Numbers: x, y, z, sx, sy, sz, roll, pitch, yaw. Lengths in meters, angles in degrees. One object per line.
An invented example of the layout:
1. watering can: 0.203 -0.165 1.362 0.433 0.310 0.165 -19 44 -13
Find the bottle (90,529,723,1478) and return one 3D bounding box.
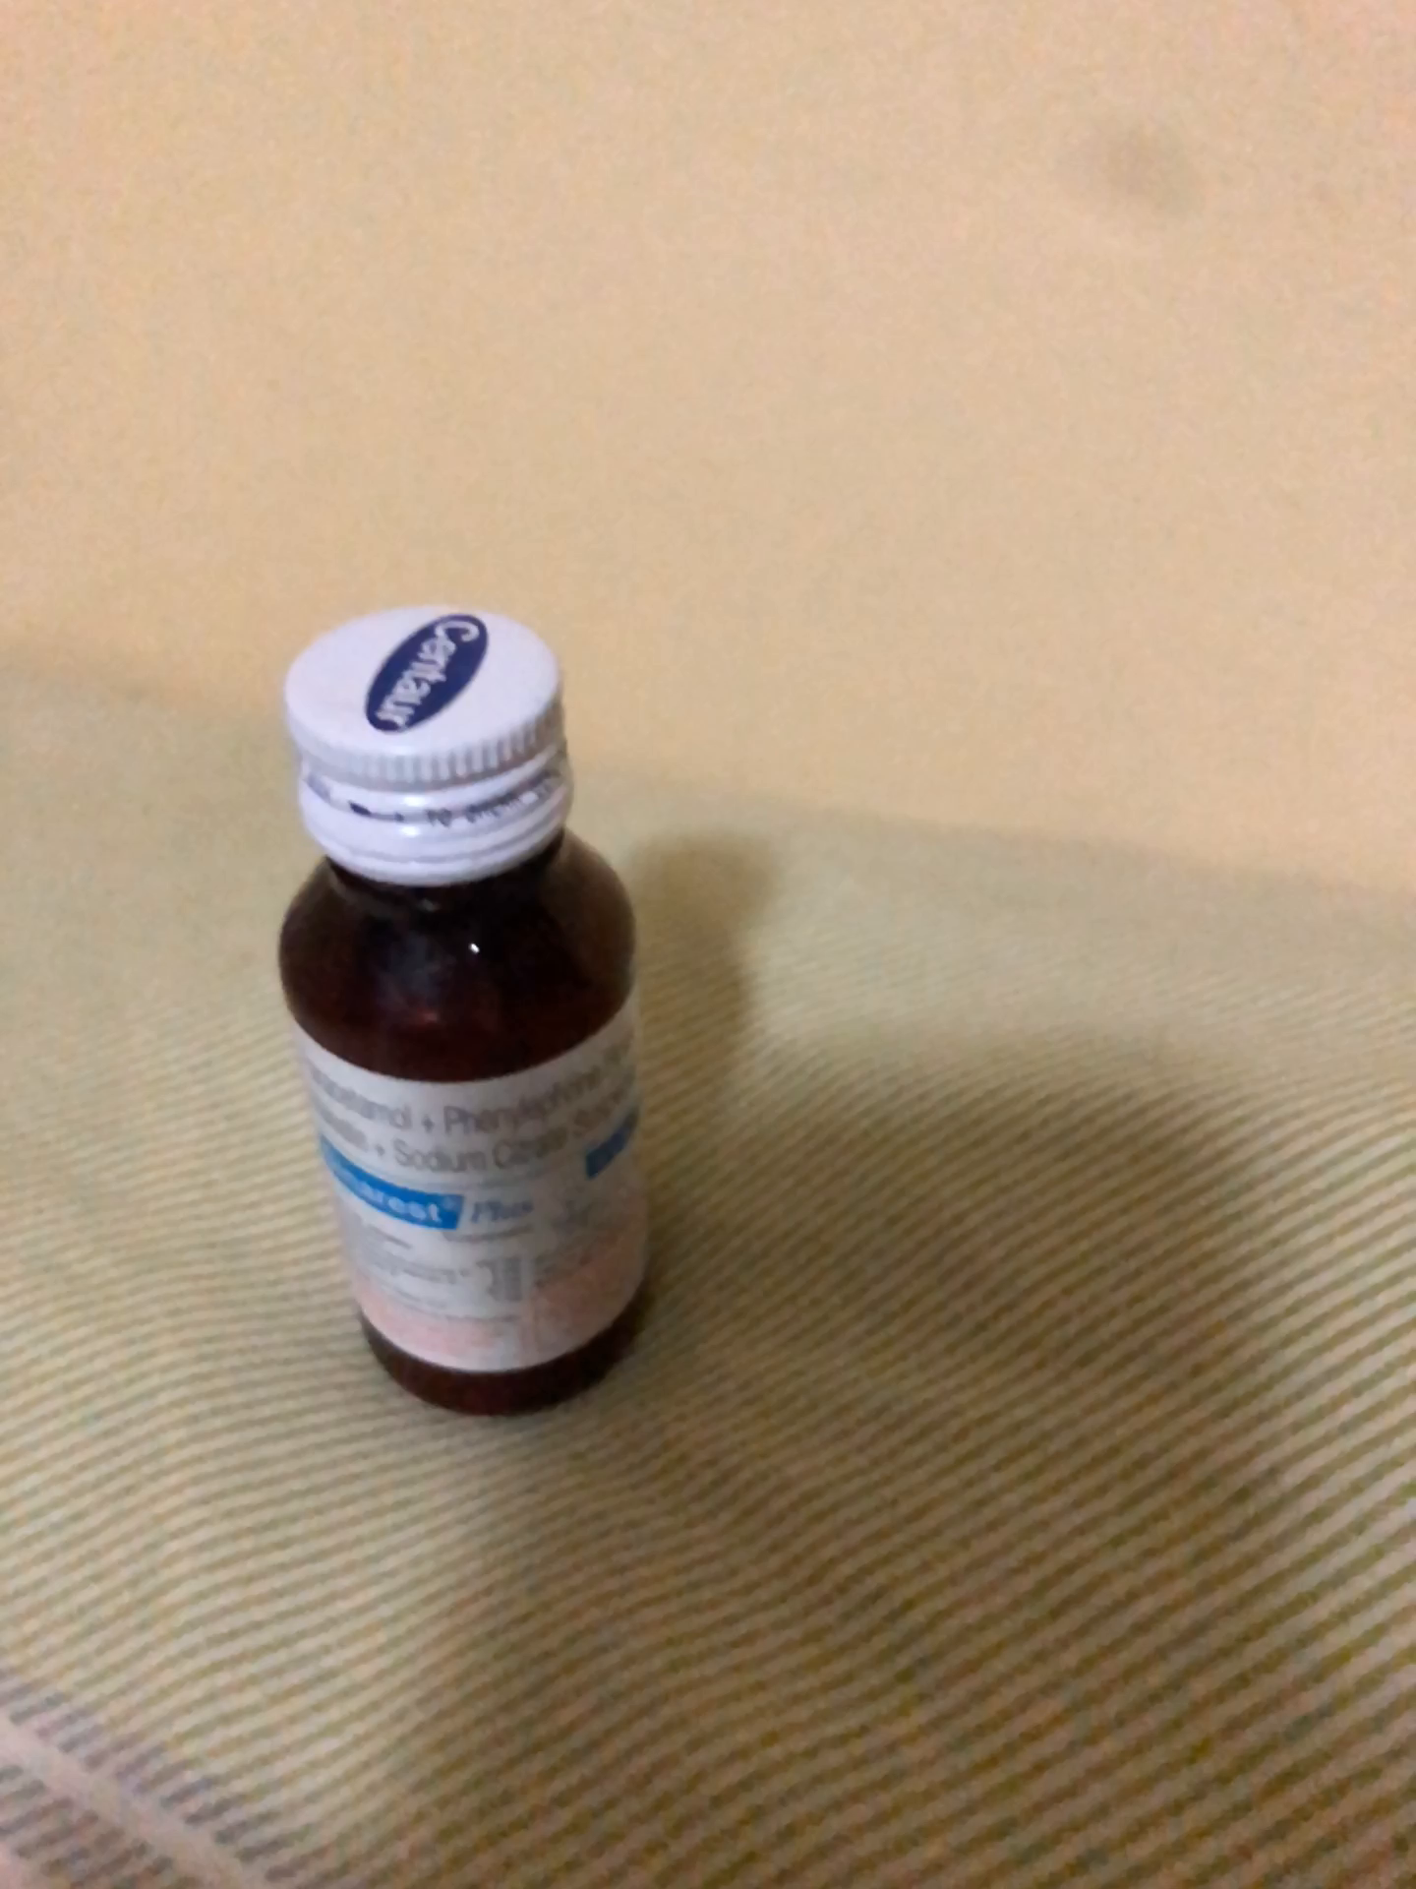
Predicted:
1. bottle: -0.027 0.010 0.184 0.040 0.100 0.037 -2 41 2
